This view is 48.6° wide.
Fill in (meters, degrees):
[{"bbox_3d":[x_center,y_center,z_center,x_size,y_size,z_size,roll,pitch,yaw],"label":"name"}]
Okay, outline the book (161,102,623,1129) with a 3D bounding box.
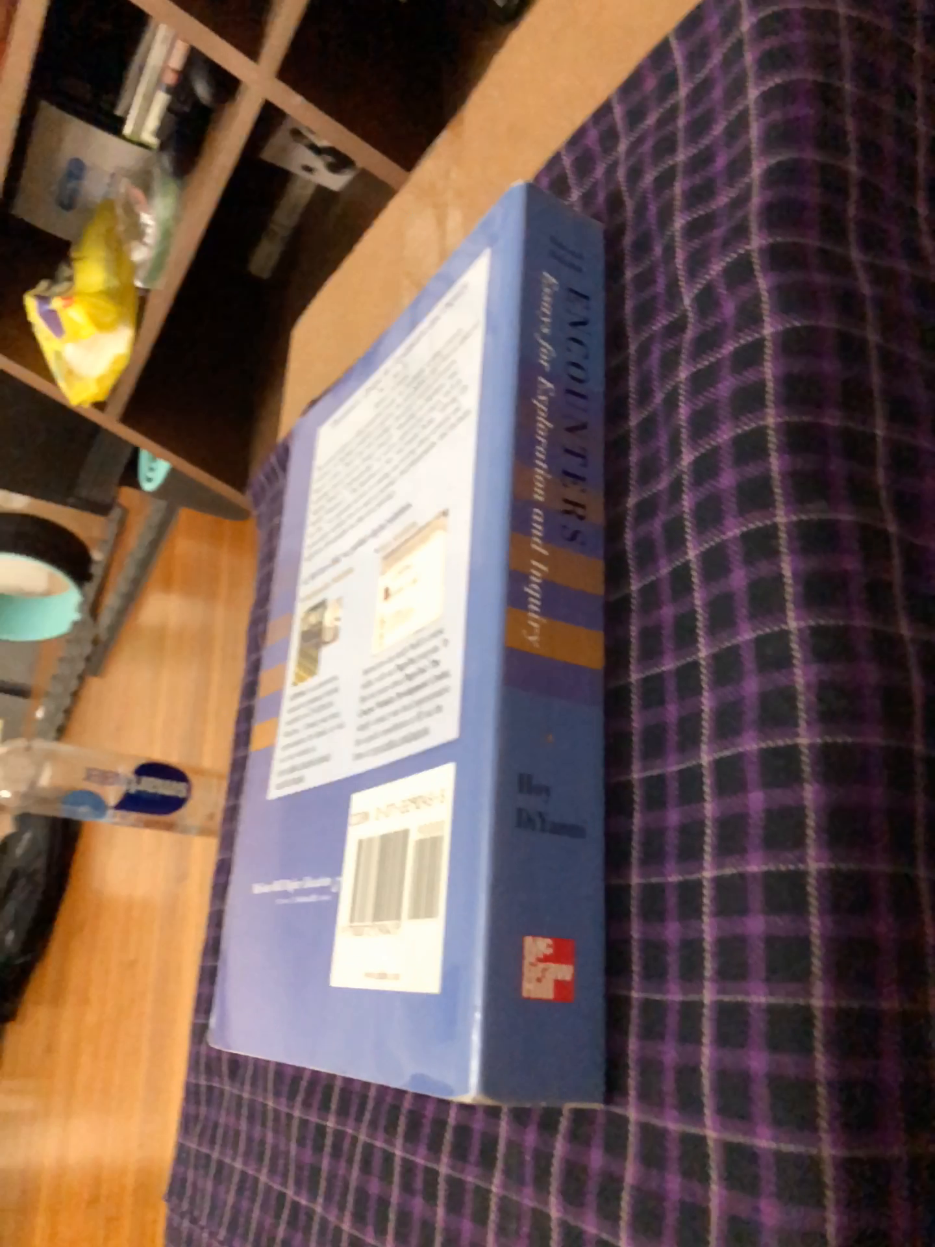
[{"bbox_3d":[-0.027,0.006,0.307,0.181,0.040,0.240,-29,51,54],"label":"book"}]
